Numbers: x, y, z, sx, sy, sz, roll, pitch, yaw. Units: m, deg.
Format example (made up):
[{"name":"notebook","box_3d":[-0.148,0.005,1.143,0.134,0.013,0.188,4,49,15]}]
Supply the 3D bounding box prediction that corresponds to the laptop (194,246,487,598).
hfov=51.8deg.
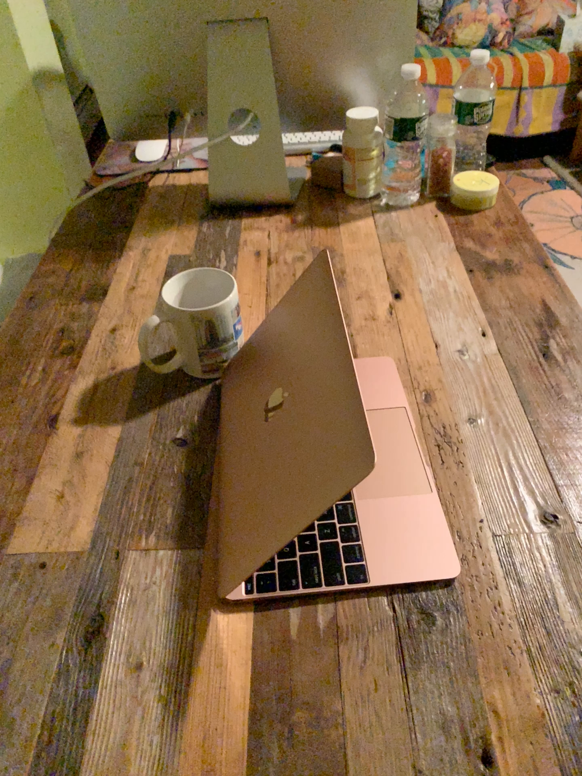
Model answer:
[{"name":"laptop","box_3d":[0.028,0.013,0.543,0.193,0.145,0.280,-5,42,-2]}]
